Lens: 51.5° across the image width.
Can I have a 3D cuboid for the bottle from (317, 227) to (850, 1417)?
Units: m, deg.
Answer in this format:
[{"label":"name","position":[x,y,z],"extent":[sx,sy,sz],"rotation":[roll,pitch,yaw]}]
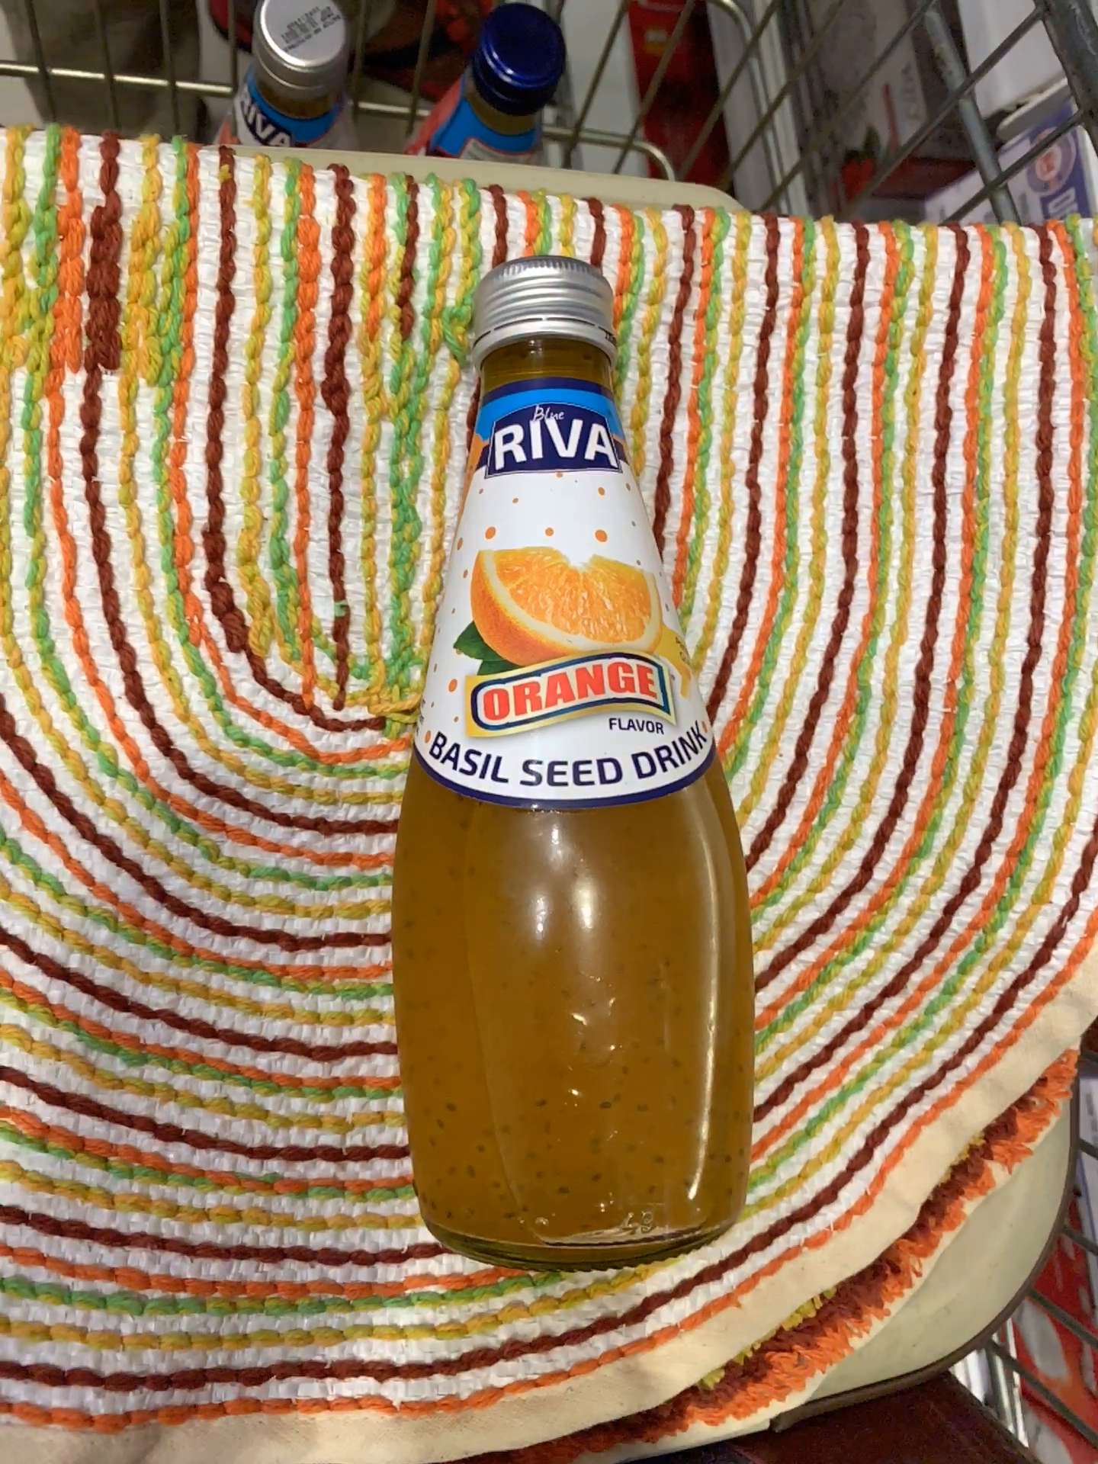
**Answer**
[{"label":"bottle","position":[0.001,0.013,0.183],"extent":[0.070,0.050,0.160],"rotation":[-1,98,-13]}]
